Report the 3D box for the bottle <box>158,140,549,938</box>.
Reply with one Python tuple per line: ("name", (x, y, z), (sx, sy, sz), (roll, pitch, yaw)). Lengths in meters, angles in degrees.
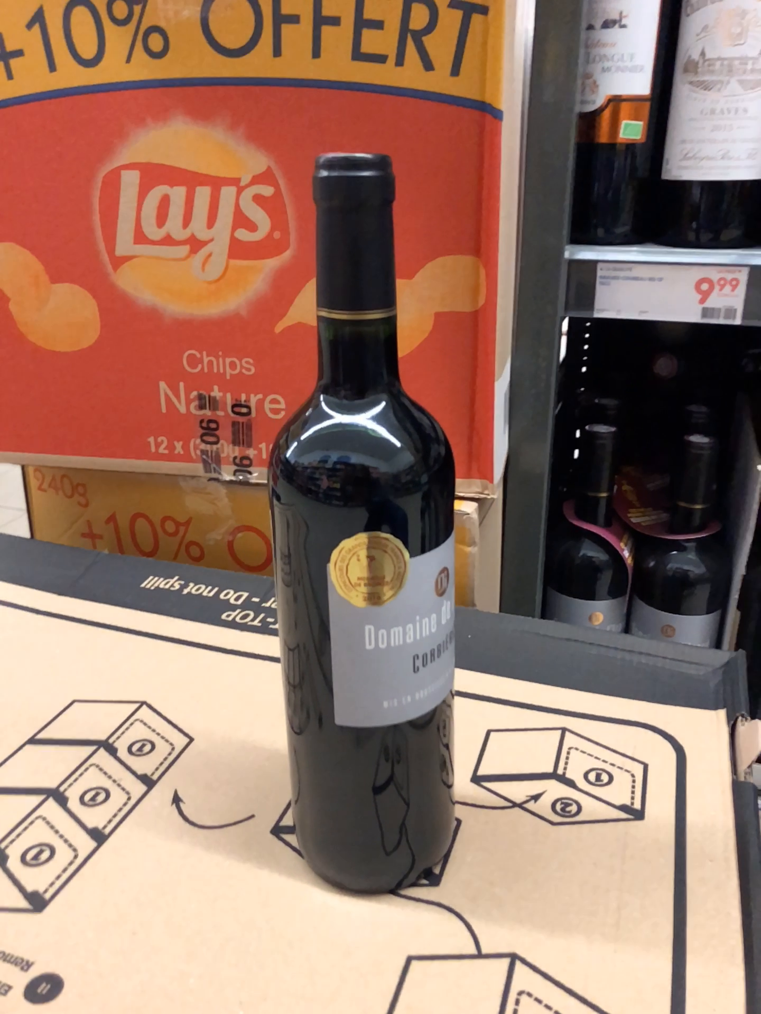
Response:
("bottle", (-0.006, 0.011, 0.324), (0.090, 0.279, 0.091), (-1, 22, 0))
